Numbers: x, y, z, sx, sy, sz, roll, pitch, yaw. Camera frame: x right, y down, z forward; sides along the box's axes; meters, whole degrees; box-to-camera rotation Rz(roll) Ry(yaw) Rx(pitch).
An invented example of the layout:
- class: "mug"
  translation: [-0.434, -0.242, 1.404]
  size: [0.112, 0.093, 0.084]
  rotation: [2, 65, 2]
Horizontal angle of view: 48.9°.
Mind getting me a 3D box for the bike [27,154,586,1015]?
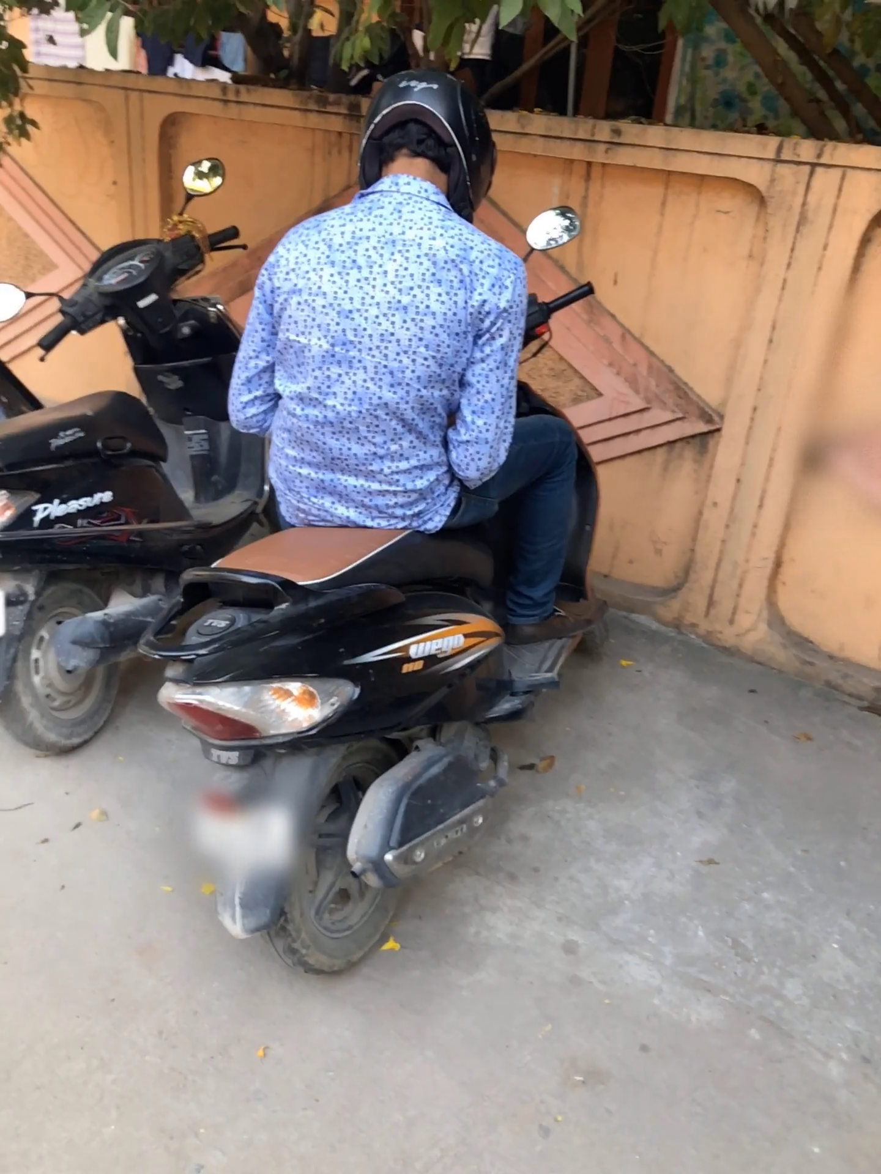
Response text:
- class: "bike"
  translation: [-0.173, -0.183, 2.041]
  size: [0.629, 1.038, 1.326]
  rotation: [11, 32, 12]
